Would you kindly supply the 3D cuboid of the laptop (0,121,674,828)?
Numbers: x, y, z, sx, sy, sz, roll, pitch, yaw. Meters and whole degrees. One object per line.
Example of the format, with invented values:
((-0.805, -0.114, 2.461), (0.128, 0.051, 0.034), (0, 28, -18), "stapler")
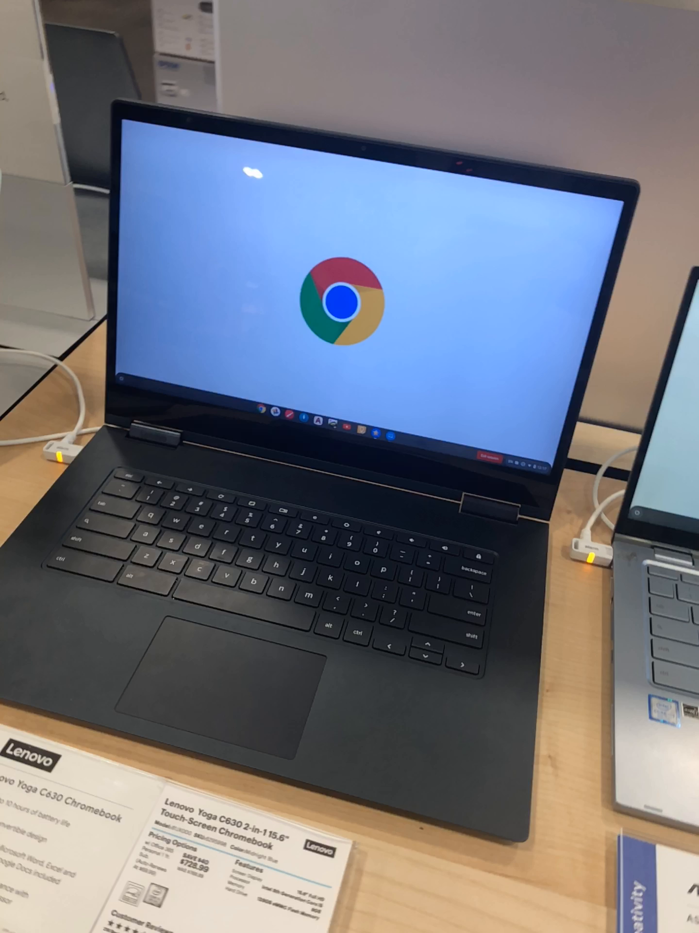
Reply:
((-0.035, -0.026, 0.449), (0.343, 0.230, 0.293), (12, 39, 9), "laptop")
